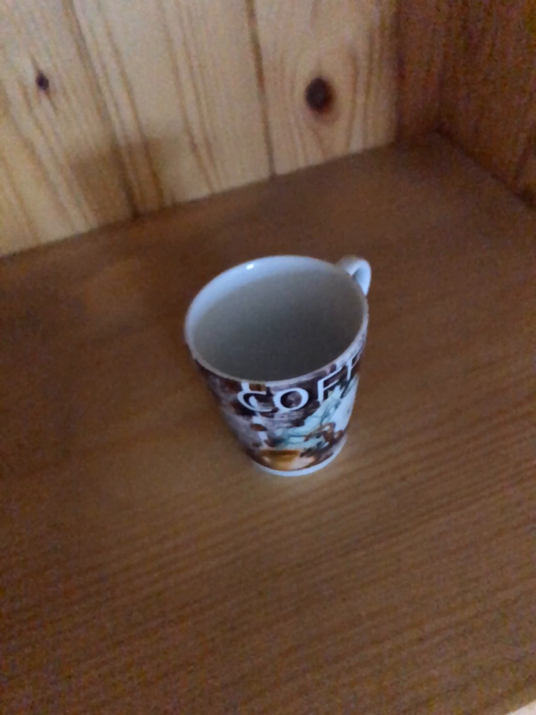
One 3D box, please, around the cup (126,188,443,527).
[{"bbox_3d":[0.008,-0.002,0.215,0.080,0.070,0.060,-34,51,-21],"label":"cup"}]
